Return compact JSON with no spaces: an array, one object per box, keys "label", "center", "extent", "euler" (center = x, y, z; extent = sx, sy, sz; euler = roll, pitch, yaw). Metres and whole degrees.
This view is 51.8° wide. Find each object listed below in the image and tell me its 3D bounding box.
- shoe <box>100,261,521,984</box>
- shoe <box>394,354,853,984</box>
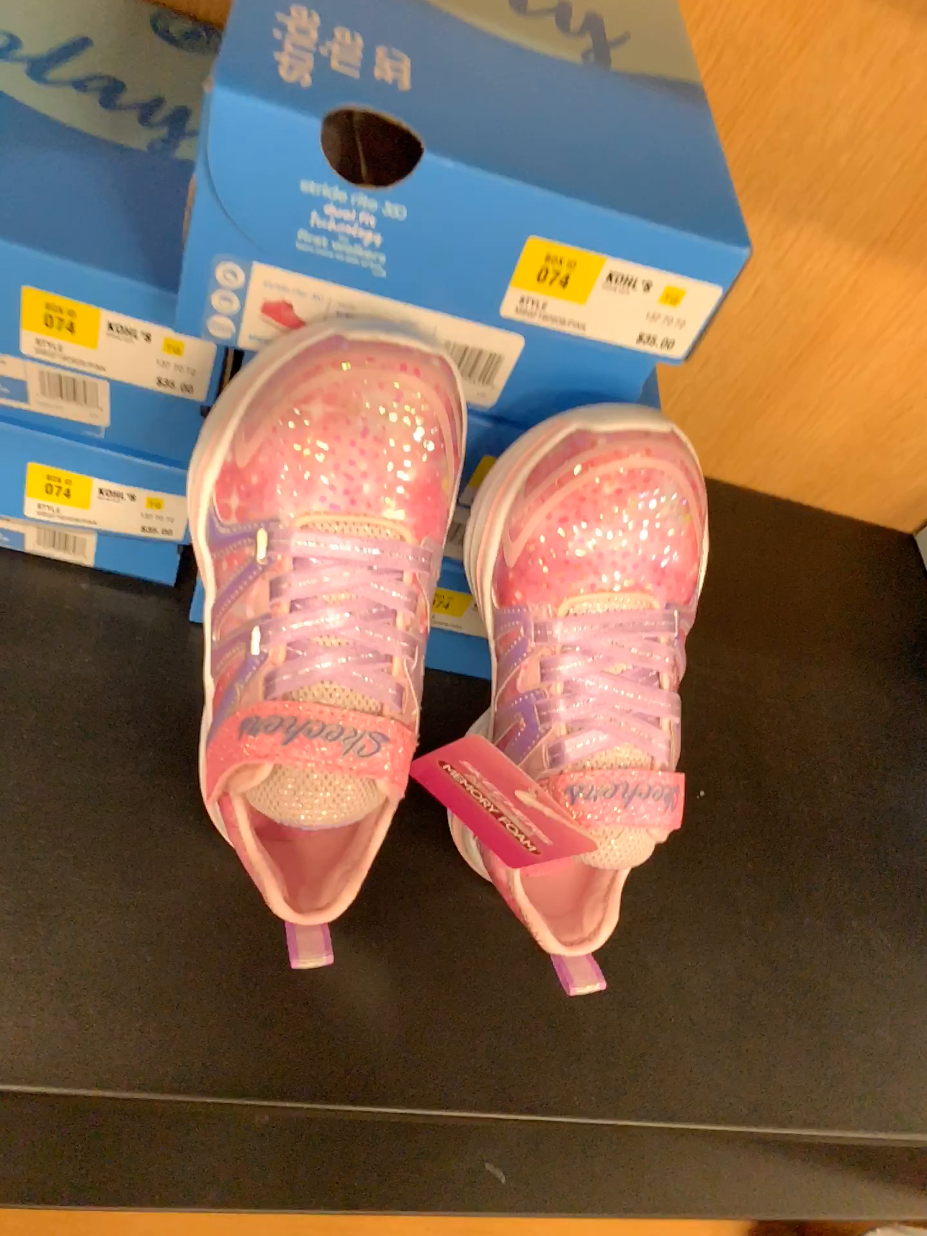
[{"label":"shoe","center":[-0.053,0.014,0.296],"extent":[0.090,0.209,0.080],"euler":[5,34,-10]},{"label":"shoe","center":[0.036,0.025,0.323],"extent":[0.090,0.199,0.080],"euler":[1,35,-13]}]
